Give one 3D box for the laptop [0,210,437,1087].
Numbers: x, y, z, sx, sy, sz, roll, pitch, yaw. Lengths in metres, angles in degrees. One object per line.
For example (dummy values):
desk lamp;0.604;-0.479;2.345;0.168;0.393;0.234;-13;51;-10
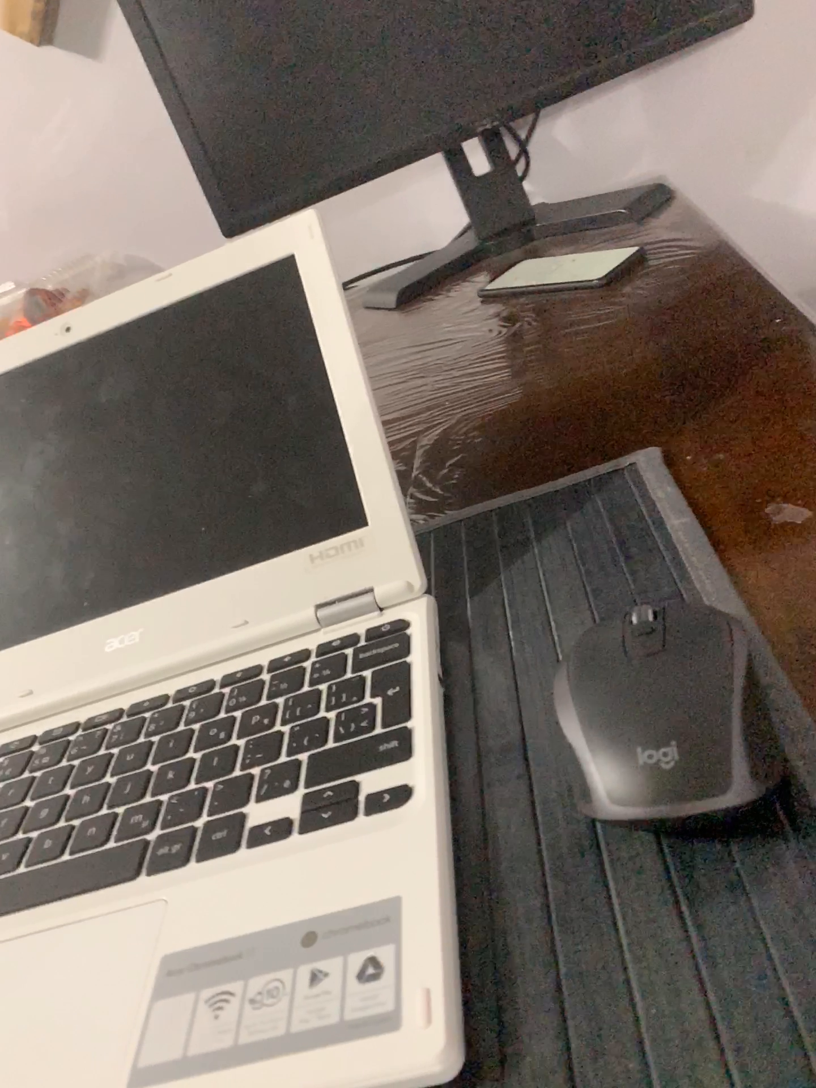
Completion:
laptop;-0.152;0.022;0.326;0.284;0.142;0.329;-18;29;10
